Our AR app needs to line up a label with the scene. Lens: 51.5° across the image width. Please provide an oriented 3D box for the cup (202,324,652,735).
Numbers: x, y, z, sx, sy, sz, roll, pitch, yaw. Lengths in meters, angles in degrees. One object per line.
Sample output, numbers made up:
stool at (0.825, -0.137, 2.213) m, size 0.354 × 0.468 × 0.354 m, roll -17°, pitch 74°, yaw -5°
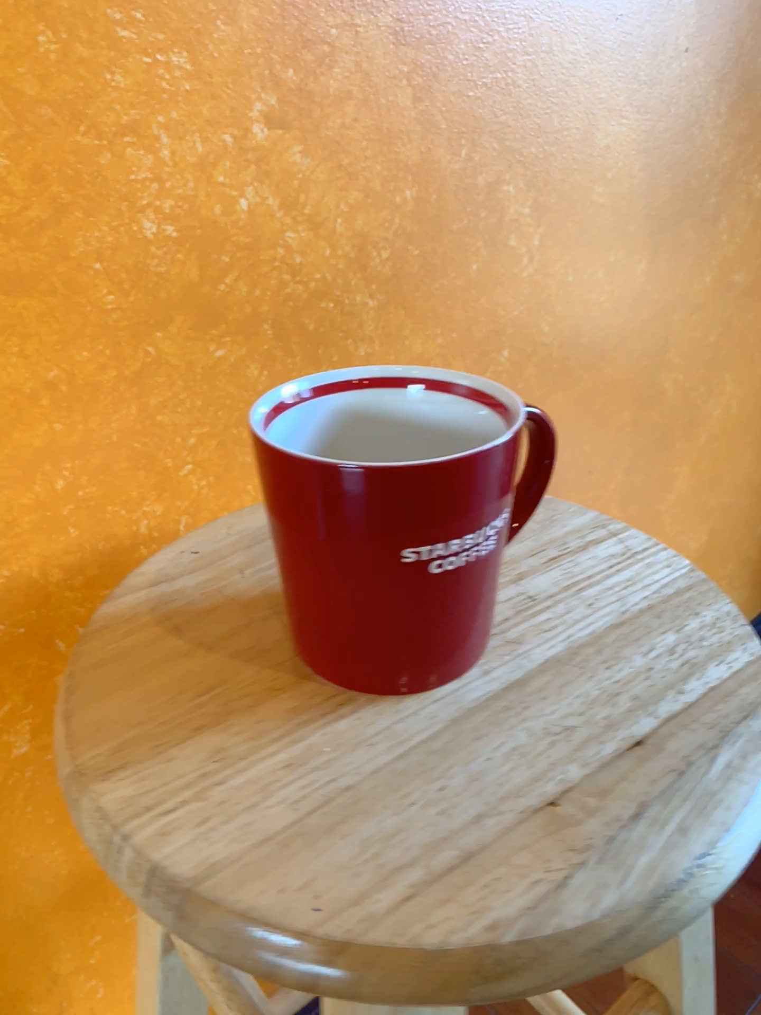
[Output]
cup at (0.019, -0.004, 0.324) m, size 0.140 × 0.099 × 0.100 m, roll -20°, pitch 33°, yaw -31°
